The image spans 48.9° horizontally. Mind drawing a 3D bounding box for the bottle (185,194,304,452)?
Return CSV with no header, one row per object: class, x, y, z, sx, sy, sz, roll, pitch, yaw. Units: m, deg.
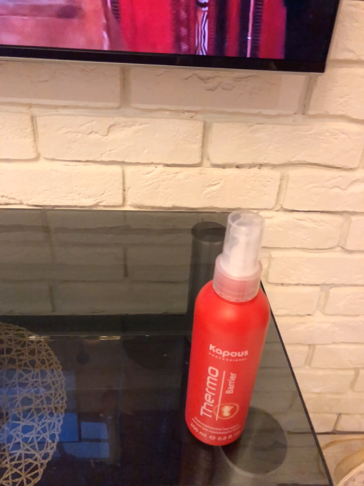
bottle,0.032,0.061,0.266,0.048,0.179,0.053,3,32,-2
